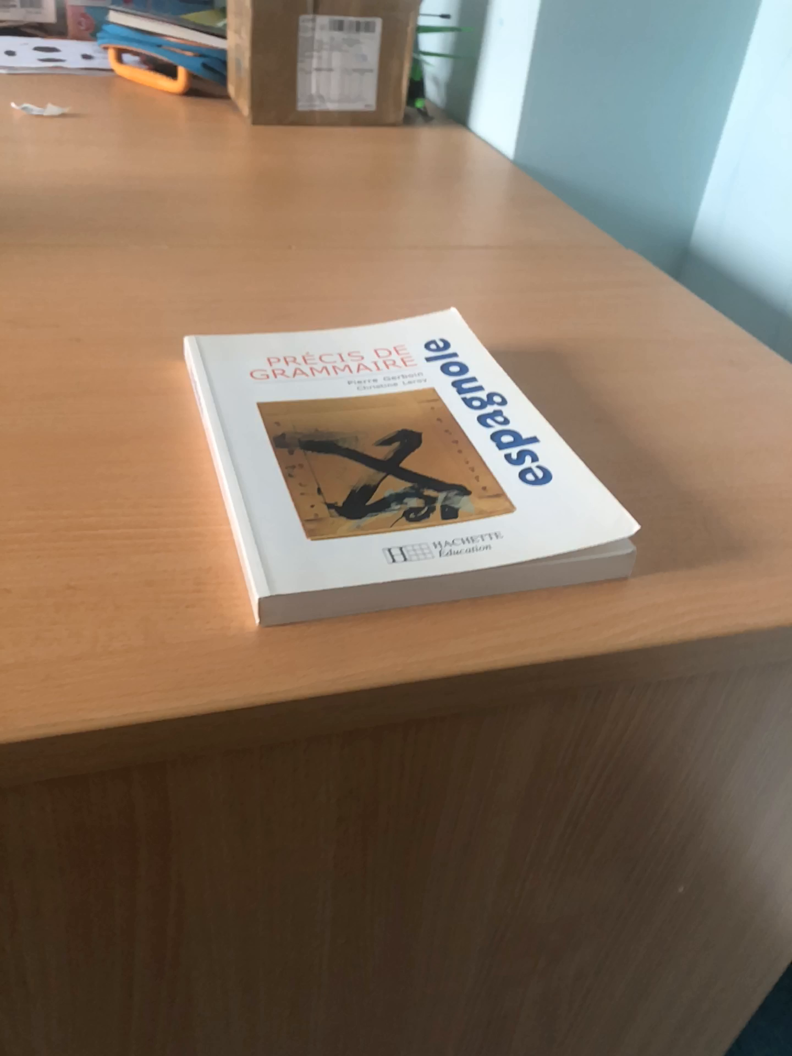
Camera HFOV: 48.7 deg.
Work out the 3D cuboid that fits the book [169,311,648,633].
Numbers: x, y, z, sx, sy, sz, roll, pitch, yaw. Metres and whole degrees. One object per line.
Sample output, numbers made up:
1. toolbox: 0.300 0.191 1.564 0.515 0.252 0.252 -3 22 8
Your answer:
1. book: -0.012 -0.049 0.454 0.180 0.020 0.241 -8 38 -16
